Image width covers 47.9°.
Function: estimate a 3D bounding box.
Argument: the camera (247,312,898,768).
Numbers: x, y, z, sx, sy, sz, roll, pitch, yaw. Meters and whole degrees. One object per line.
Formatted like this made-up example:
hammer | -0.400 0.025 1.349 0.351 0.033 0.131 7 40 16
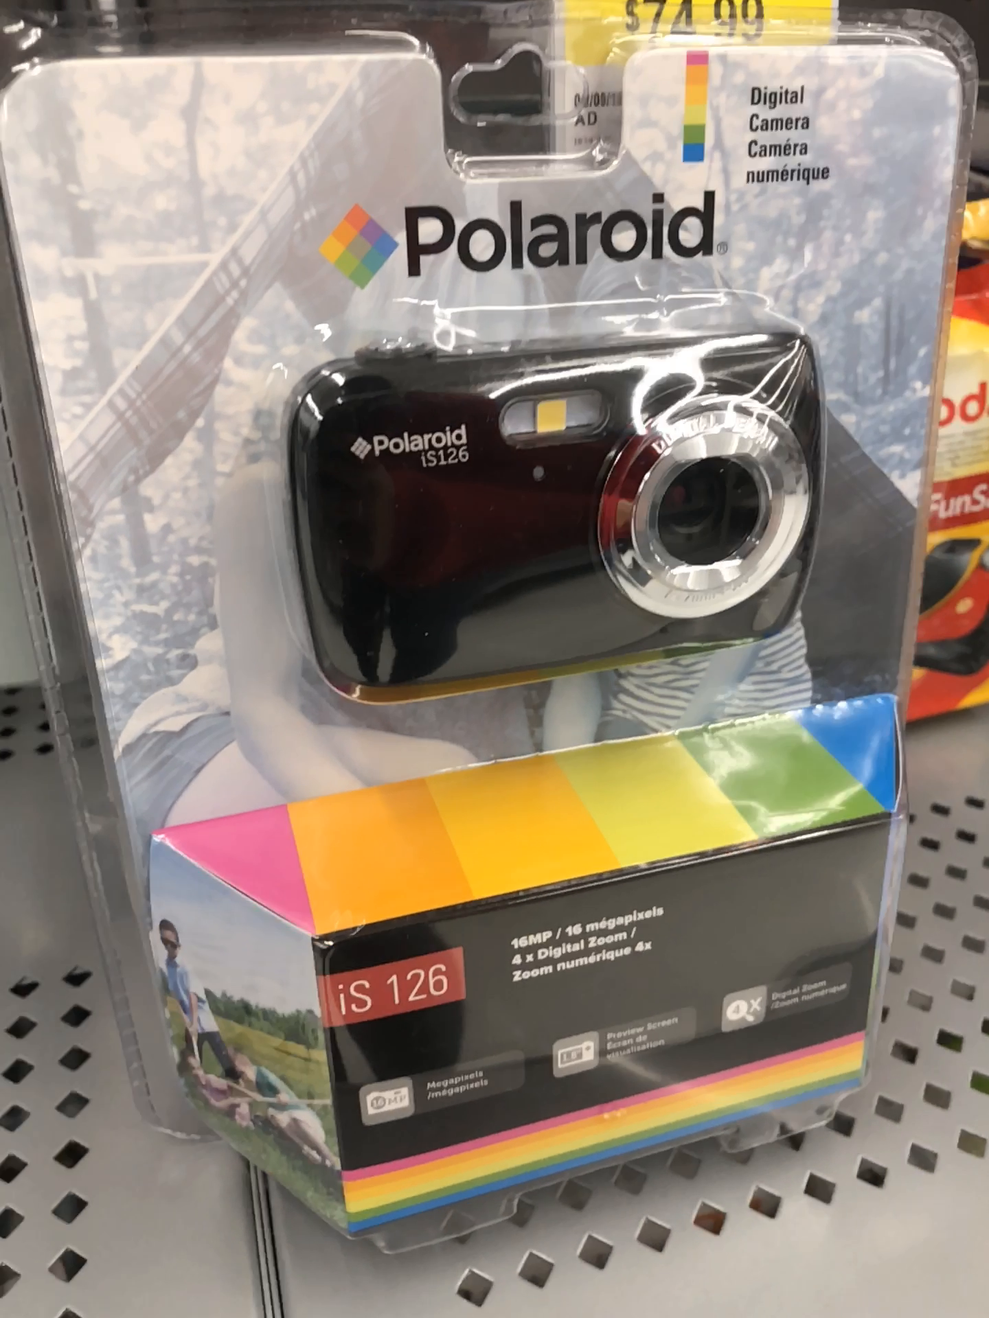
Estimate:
camera | 0.012 -0.023 0.195 0.100 0.060 0.030 -9 35 -15
